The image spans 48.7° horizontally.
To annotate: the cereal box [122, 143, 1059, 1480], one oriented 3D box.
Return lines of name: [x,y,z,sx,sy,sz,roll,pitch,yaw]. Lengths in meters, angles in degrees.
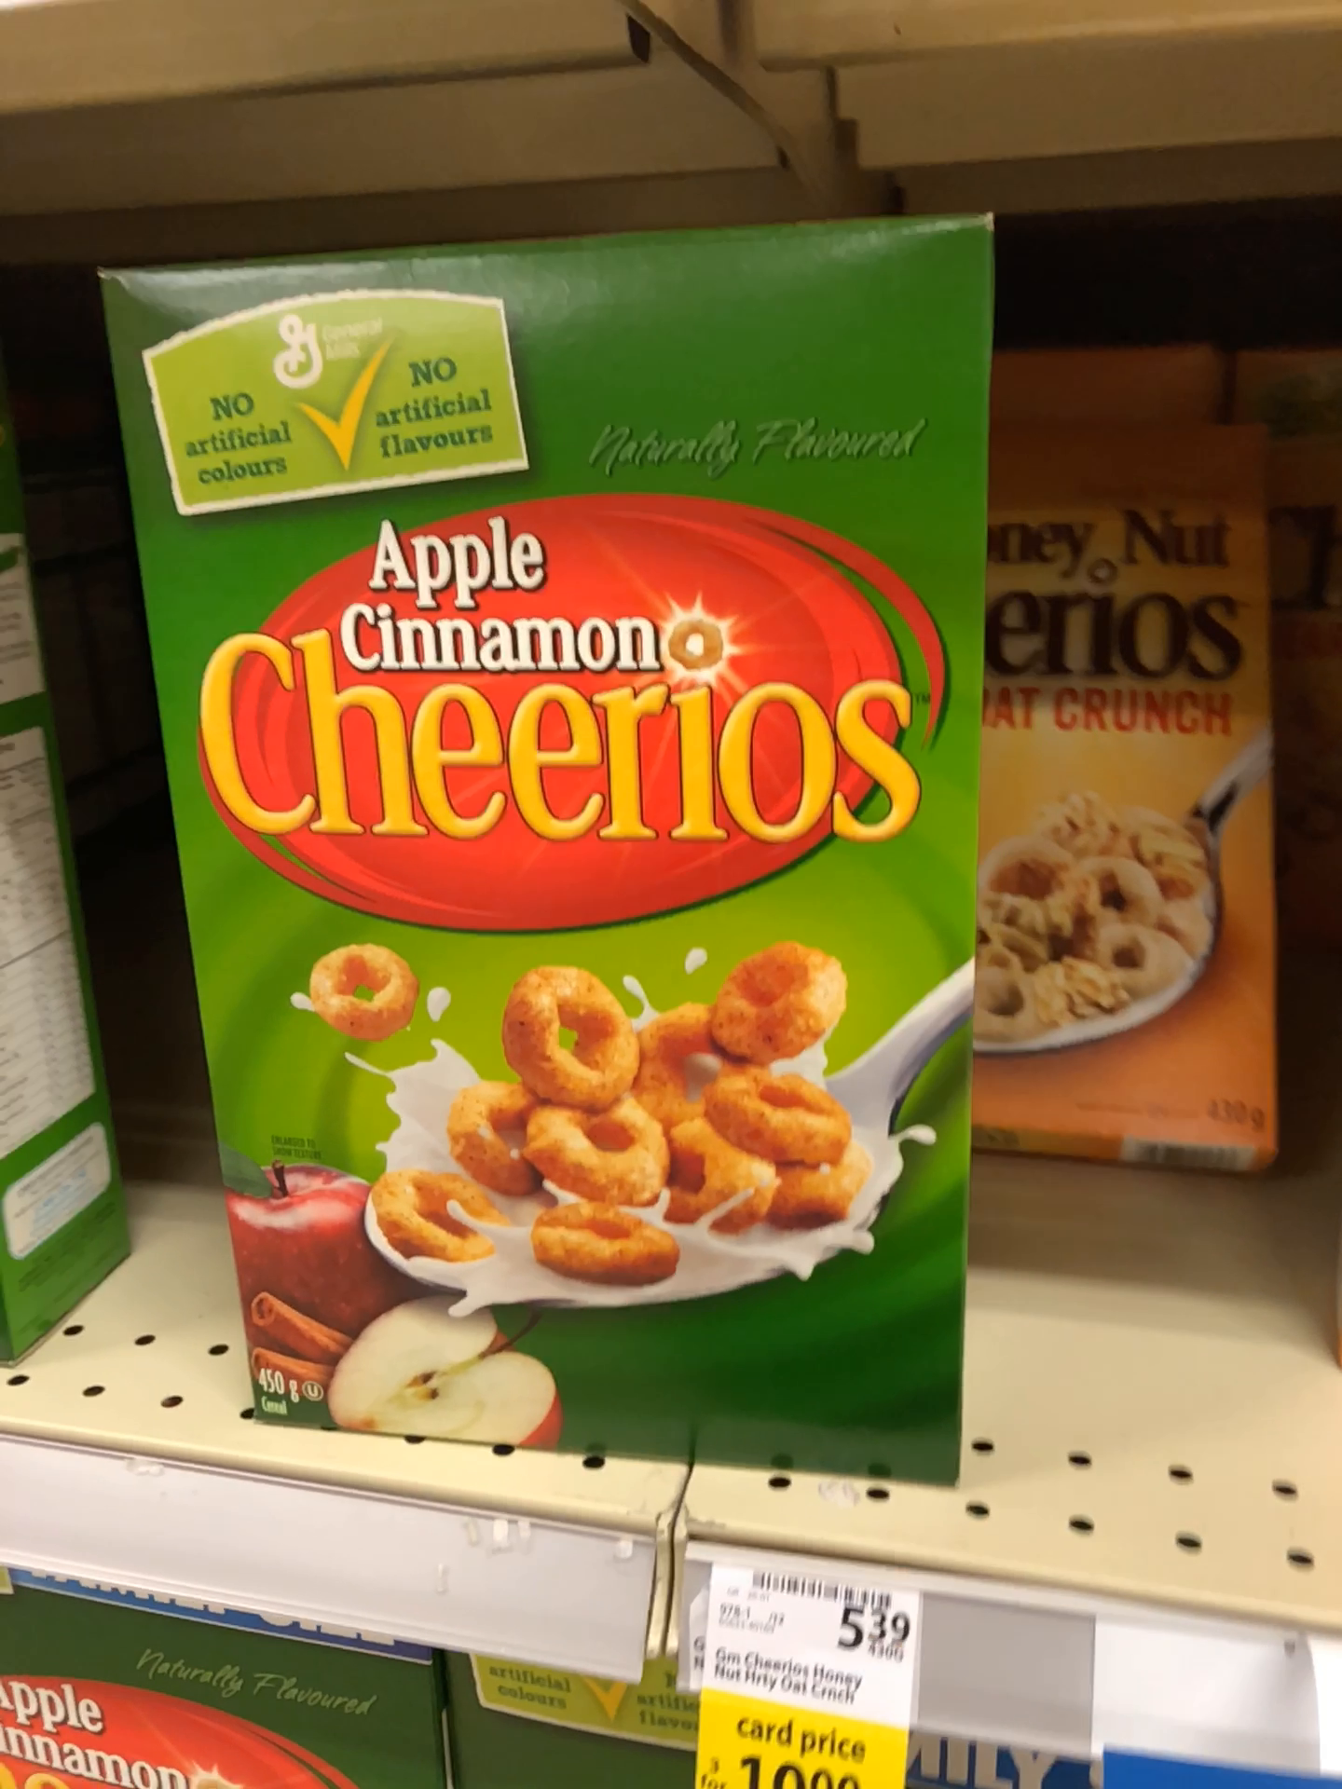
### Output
cereal box: [-0.012,-0.012,0.384,0.200,0.309,0.070,1,17,10]
